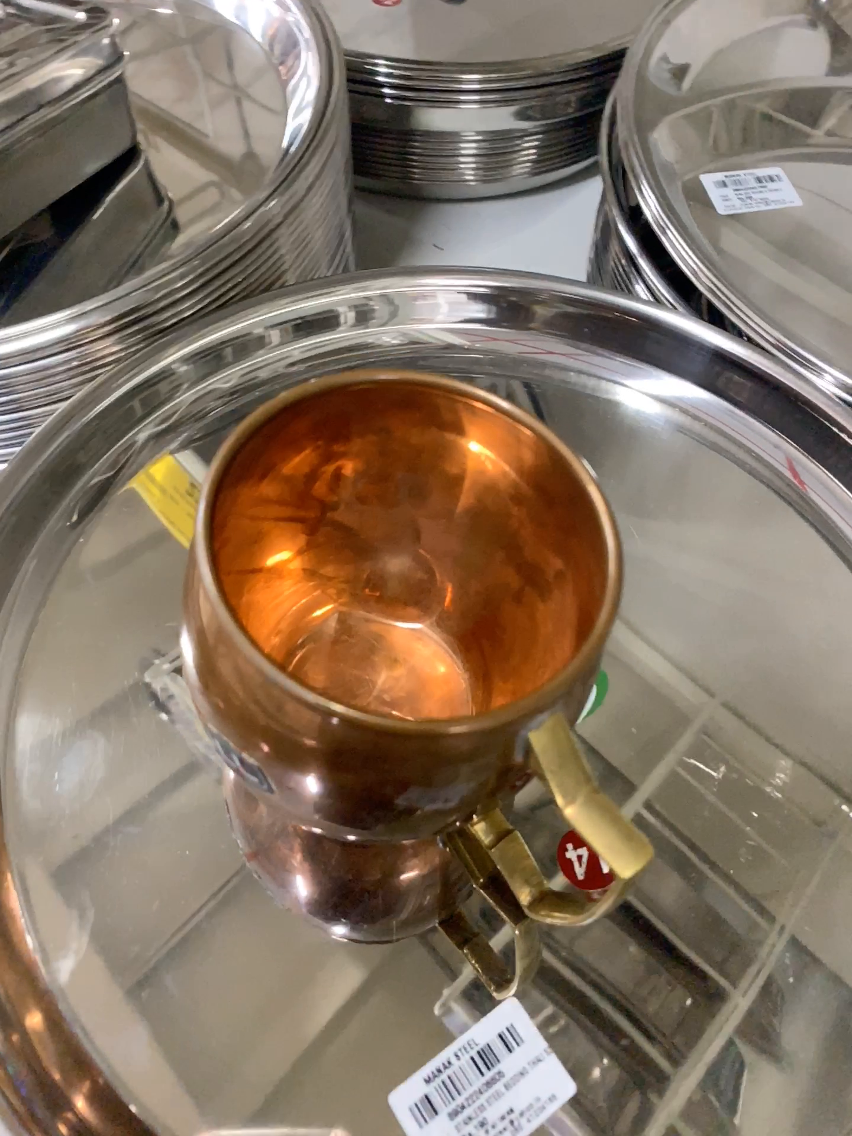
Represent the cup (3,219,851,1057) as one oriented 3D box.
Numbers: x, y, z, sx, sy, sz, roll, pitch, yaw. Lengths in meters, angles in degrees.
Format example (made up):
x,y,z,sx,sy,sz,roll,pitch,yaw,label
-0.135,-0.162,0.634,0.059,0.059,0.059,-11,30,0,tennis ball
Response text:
x,y,z,sx,sy,sz,roll,pitch,yaw,label
-0.002,0.016,0.183,0.090,0.090,0.120,-34,69,-20,cup
